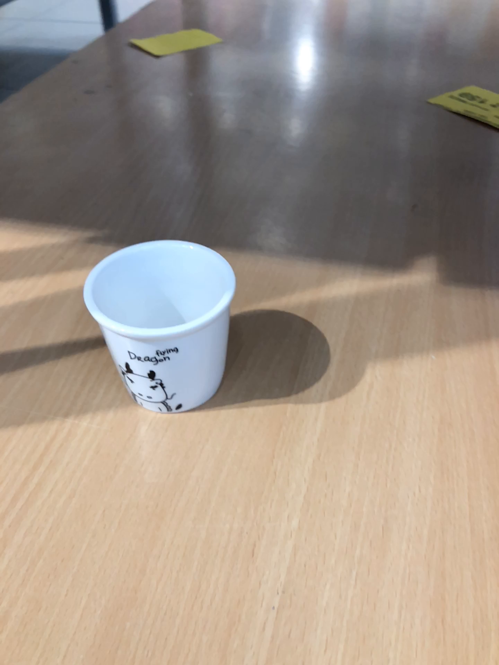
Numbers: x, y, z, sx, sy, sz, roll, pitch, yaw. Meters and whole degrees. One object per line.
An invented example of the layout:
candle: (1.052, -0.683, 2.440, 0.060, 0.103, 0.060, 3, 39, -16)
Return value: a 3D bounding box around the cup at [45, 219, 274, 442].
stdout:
cup: (-0.038, -0.004, 0.279, 0.080, 0.060, 0.081, 0, 42, 0)
